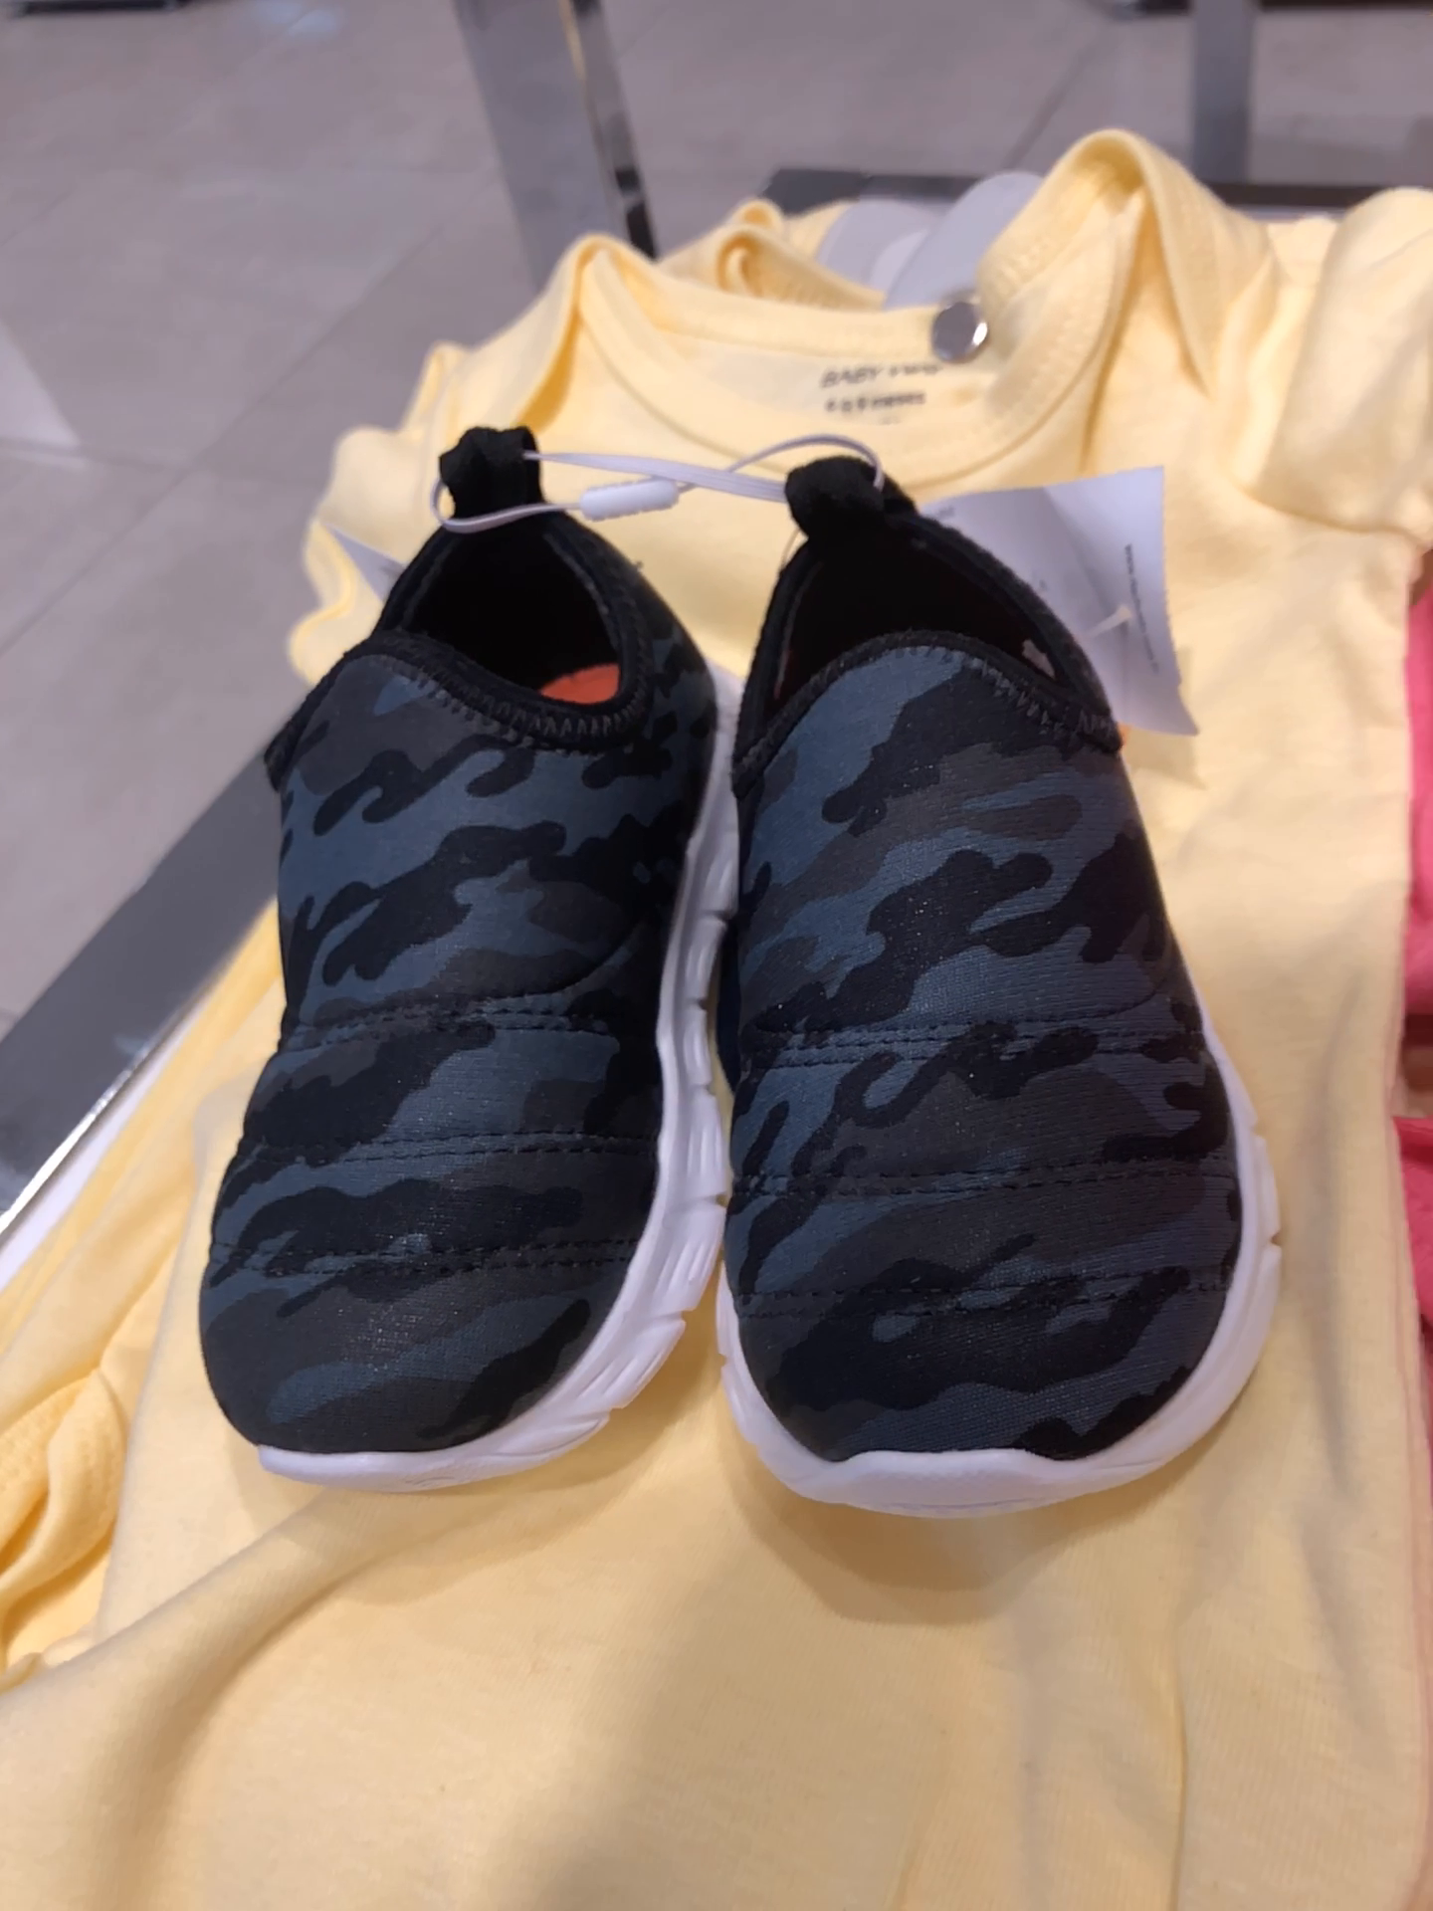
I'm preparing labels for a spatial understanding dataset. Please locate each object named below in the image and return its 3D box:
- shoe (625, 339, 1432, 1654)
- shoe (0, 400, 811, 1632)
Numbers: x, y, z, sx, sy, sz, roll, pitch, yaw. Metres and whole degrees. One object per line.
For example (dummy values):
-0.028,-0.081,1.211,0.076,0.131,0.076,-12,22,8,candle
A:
0.034,-0.002,0.205,0.070,0.070,0.151,-7,48,8,shoe
-0.034,0.002,0.227,0.070,0.079,0.151,-1,49,13,shoe
